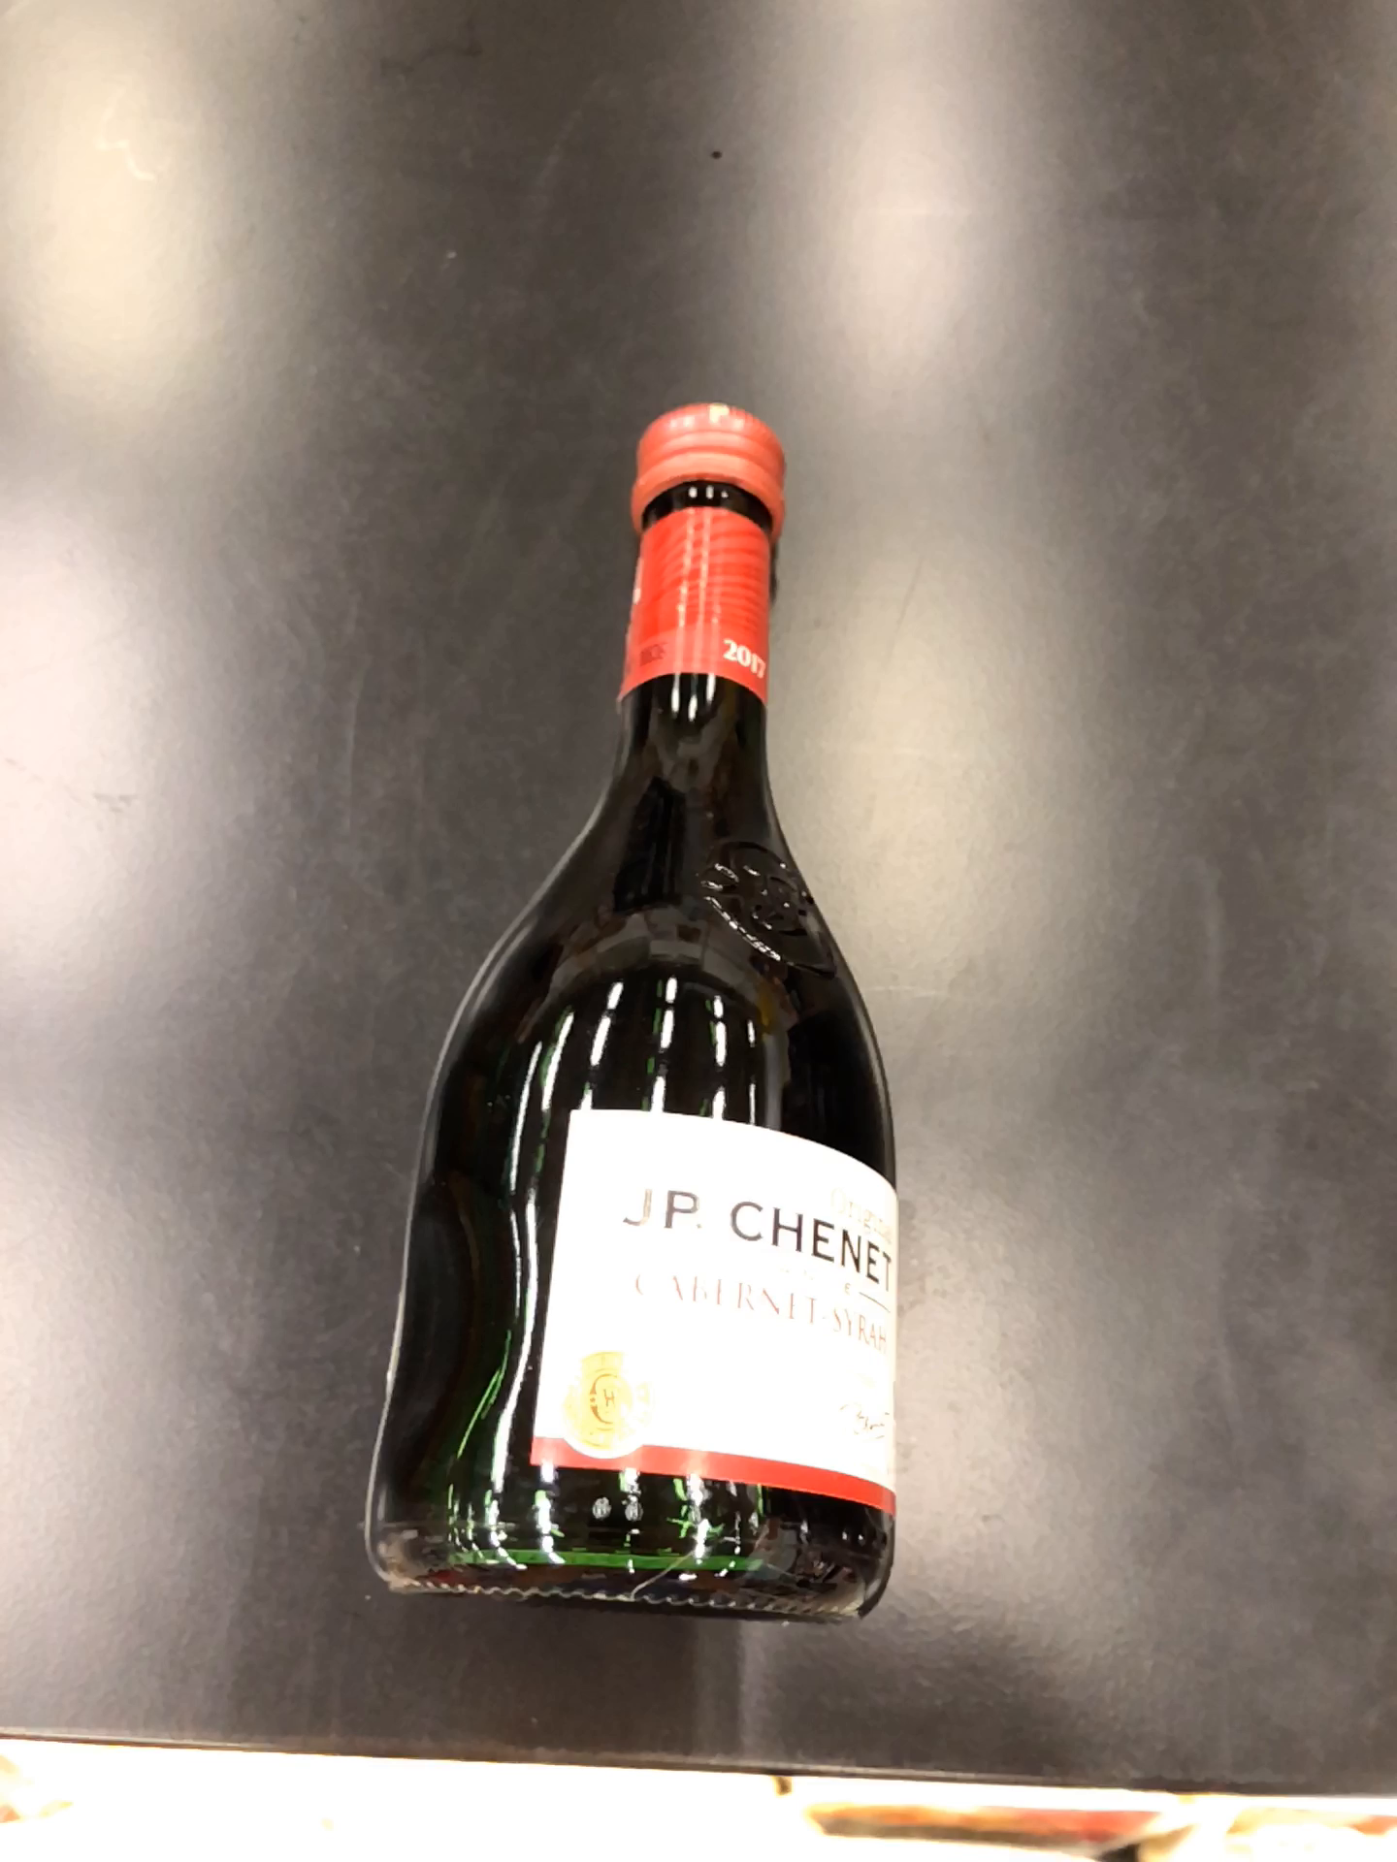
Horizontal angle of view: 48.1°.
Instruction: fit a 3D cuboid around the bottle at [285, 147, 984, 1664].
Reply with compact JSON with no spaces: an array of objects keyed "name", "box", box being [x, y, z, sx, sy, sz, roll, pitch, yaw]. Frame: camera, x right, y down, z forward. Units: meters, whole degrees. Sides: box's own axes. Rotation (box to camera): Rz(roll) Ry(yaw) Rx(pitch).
[{"name":"bottle","box":[-0.001,-0.011,0.220,0.070,0.060,0.200,2,68,3]}]
